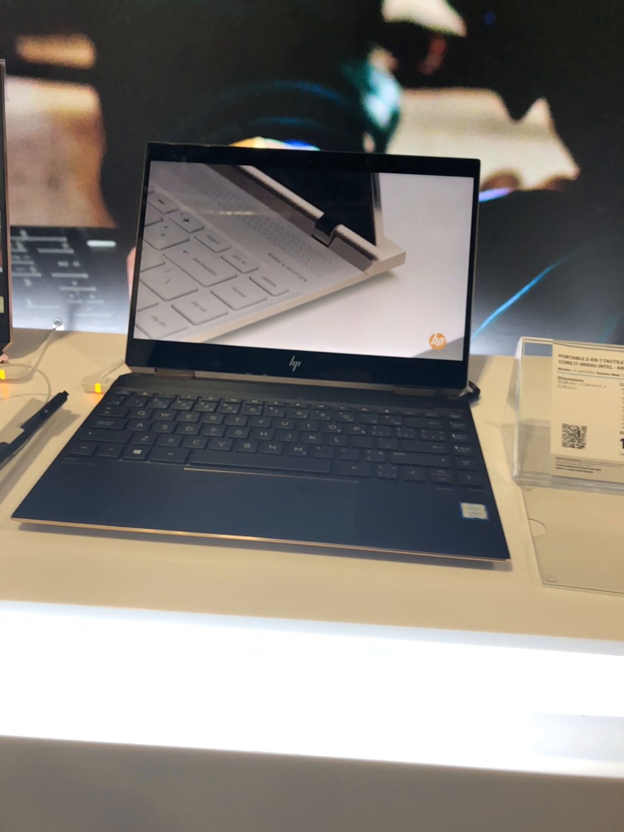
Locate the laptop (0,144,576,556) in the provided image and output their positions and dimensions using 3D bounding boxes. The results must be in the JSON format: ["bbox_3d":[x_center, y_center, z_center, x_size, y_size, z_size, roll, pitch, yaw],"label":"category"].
[{"bbox_3d":[-0.015,-0.086,0.523,0.305,0.172,0.347,4,28,3],"label":"laptop"}]
